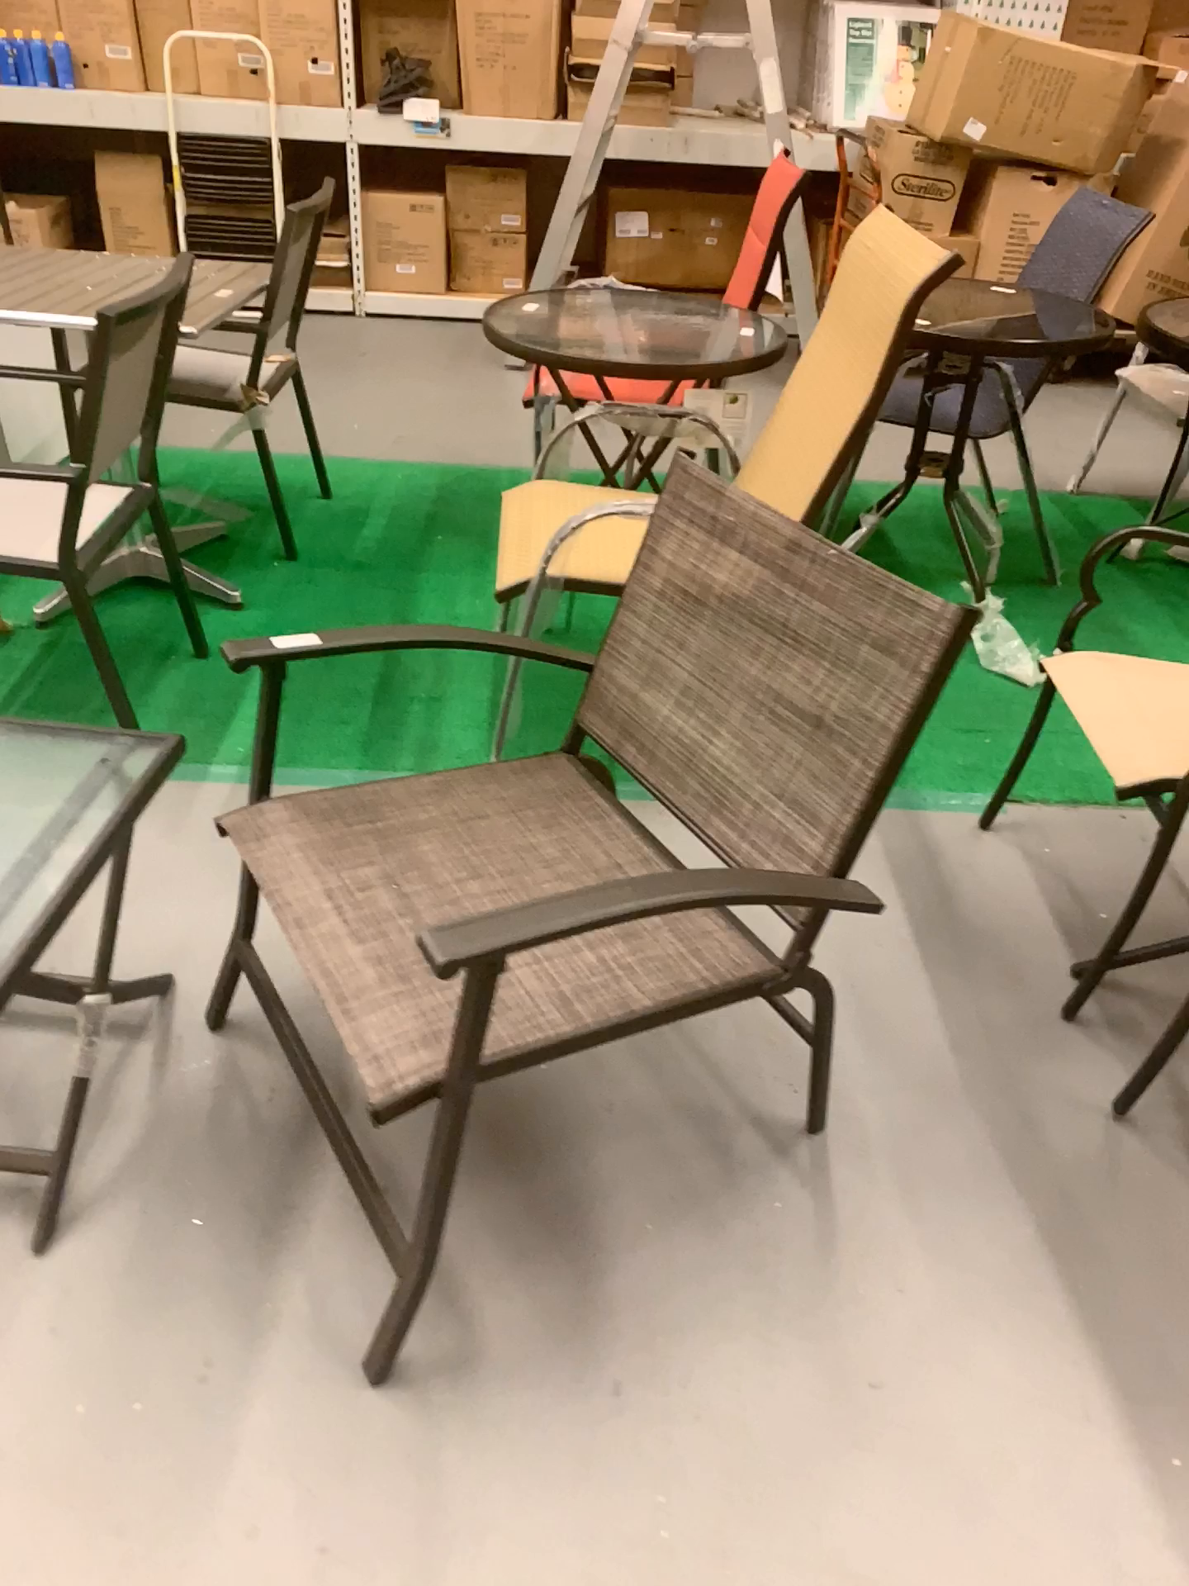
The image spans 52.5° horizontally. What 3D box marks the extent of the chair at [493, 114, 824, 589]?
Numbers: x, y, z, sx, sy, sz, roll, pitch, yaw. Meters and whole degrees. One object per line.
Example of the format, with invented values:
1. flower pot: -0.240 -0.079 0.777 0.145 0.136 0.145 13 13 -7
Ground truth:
1. chair: 0.133 -1.148 3.136 0.668 0.957 0.678 6 34 -1

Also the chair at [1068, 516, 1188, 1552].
1. chair: 1.040 0.235 1.240 0.628 0.847 0.557 -1 34 -11

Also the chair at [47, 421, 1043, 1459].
1. chair: -0.095 0.090 1.430 0.769 0.778 0.677 -17 39 -28

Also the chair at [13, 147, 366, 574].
1. chair: -0.955 -1.092 3.048 0.628 0.837 0.557 7 34 0

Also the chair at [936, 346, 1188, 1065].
1. chair: 0.993 -0.120 1.771 0.628 0.837 0.577 3 34 -5

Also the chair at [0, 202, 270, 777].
1. chair: -1.019 -0.565 2.245 0.628 0.827 0.557 7 34 0

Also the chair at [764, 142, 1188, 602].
1. chair: 0.982 -1.143 3.275 0.768 0.957 0.738 3 34 -5

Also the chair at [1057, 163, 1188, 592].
1. chair: 2.082 -1.249 3.636 0.868 0.996 0.698 4 34 -3
